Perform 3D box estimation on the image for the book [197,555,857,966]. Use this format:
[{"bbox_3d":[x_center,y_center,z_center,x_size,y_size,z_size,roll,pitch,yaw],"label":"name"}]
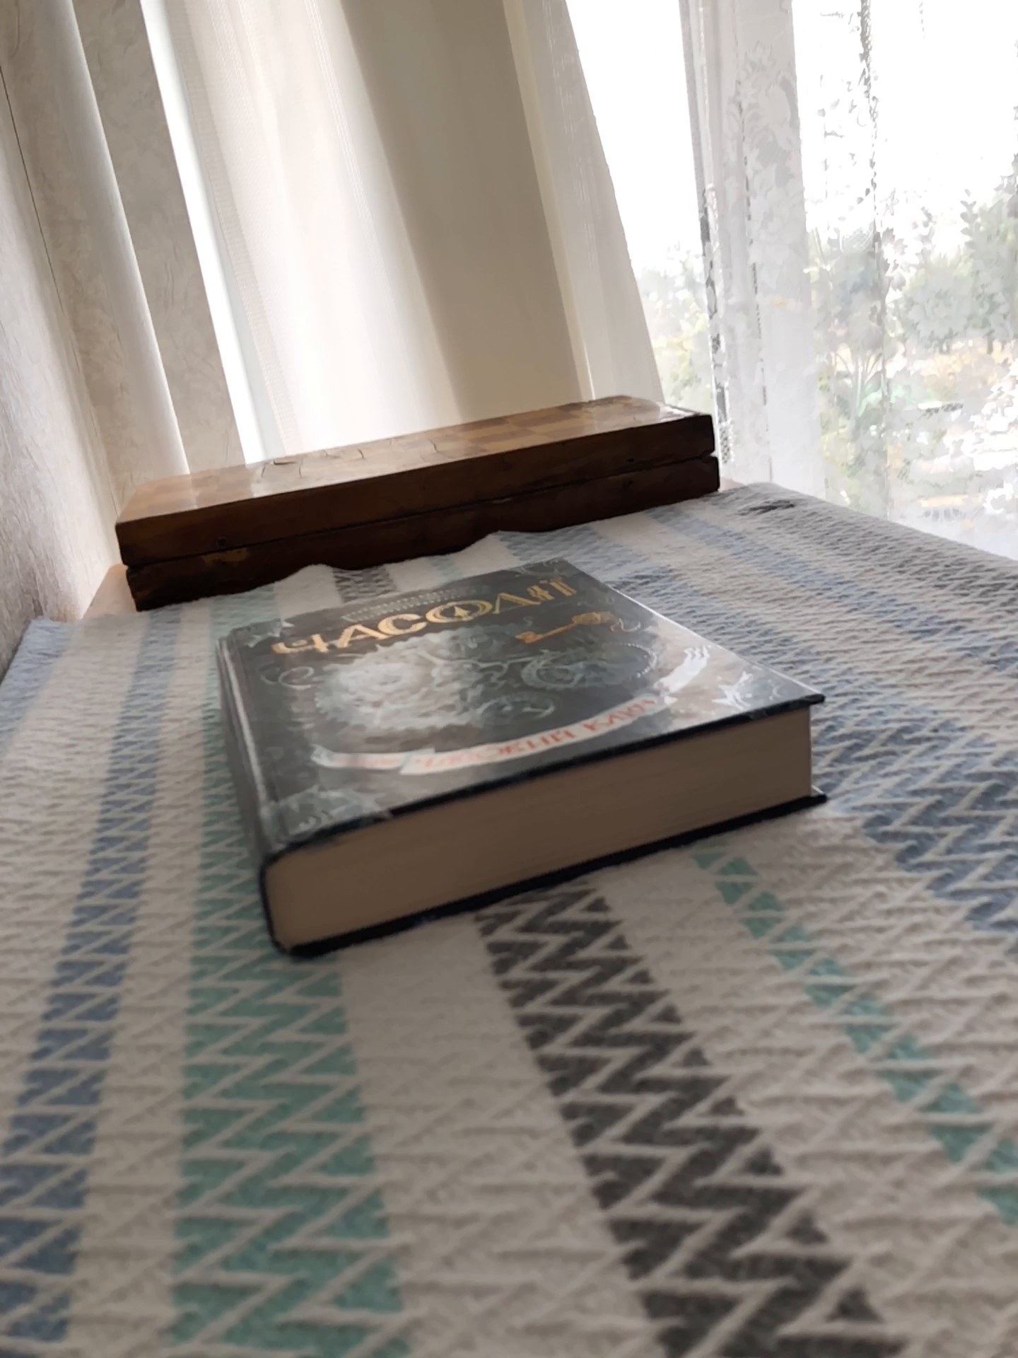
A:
[{"bbox_3d":[-0.017,0.007,0.417,0.178,0.032,0.239,-14,19,-14],"label":"book"}]
